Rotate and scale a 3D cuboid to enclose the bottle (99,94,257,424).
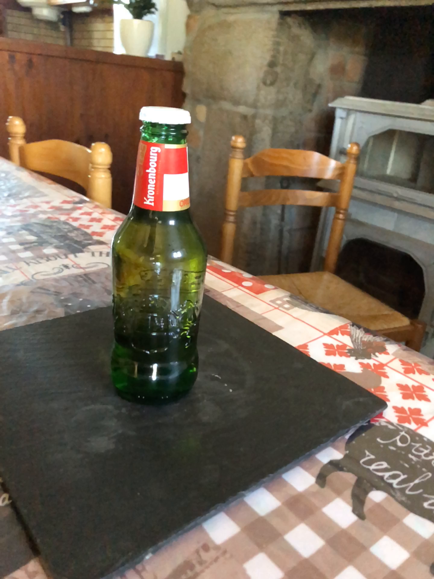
[{"bbox_3d":[-0.028,-0.019,0.292,0.060,0.179,0.060,5,22,-2],"label":"bottle"}]
